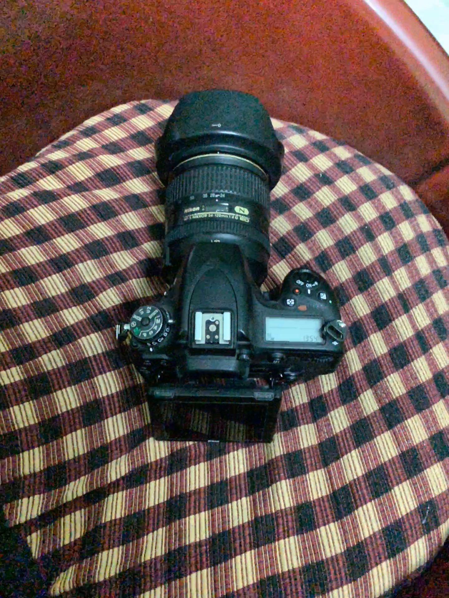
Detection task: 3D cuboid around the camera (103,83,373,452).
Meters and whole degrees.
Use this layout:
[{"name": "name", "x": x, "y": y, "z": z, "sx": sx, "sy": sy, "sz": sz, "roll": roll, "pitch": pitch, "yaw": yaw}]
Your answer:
[{"name": "camera", "x": 0.010, "y": -0.026, "z": 0.338, "sx": 0.140, "sy": 0.101, "sz": 0.250, "roll": 1, "pitch": 66, "yaw": 1}]
